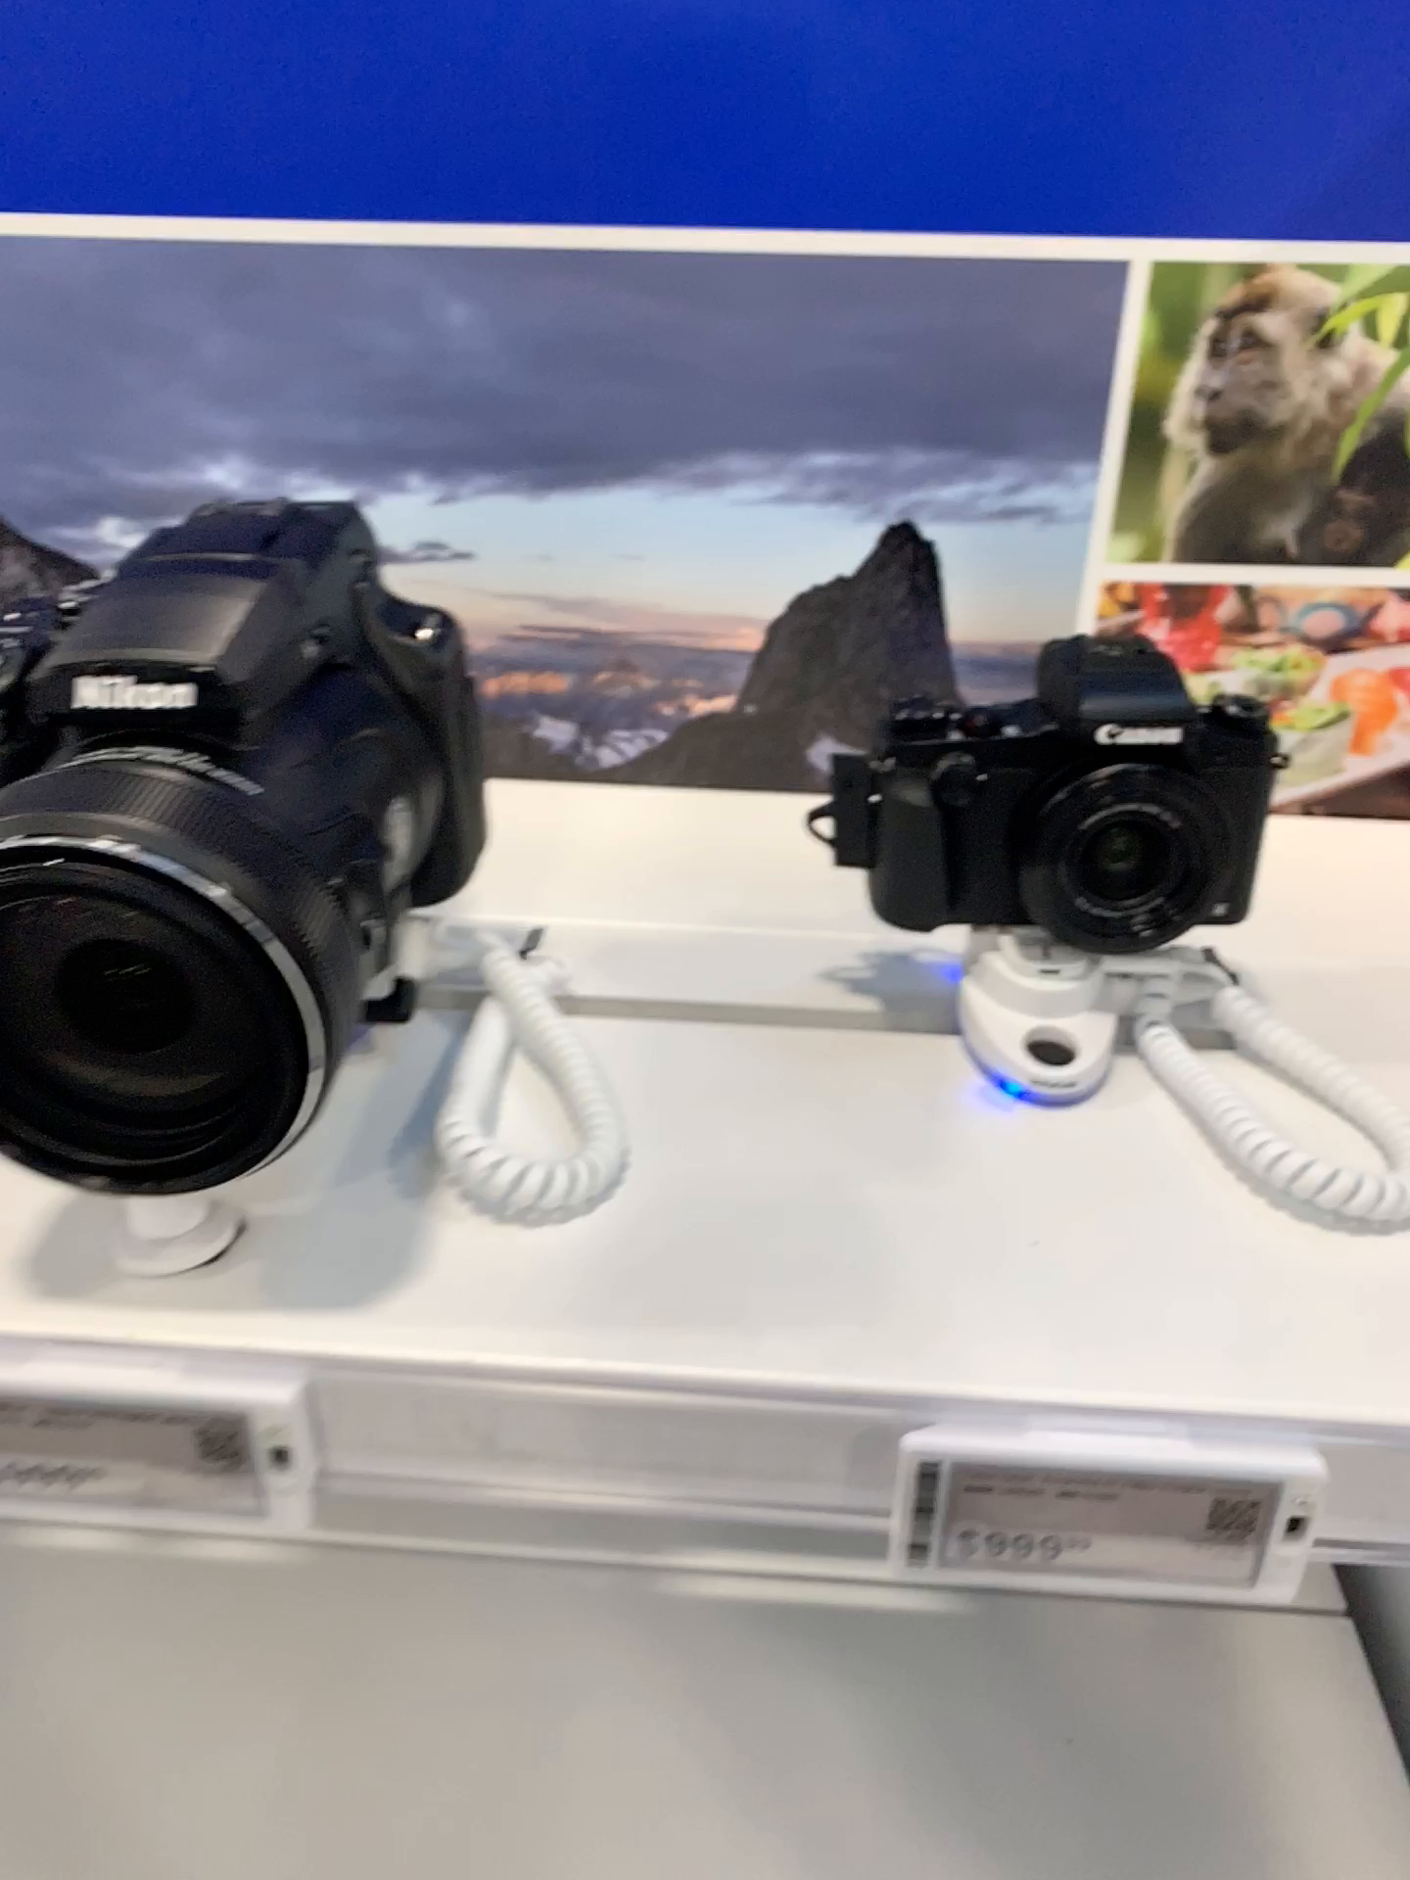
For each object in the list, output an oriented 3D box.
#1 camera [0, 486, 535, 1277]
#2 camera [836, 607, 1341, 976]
[{"bbox_3d":[-0.141,-0.035,0.372,0.160,0.109,0.221,2,28,2],"label":"camera"},{"bbox_3d":[0.103,-0.044,0.426,0.120,0.089,0.060,0,28,-1],"label":"camera"}]
